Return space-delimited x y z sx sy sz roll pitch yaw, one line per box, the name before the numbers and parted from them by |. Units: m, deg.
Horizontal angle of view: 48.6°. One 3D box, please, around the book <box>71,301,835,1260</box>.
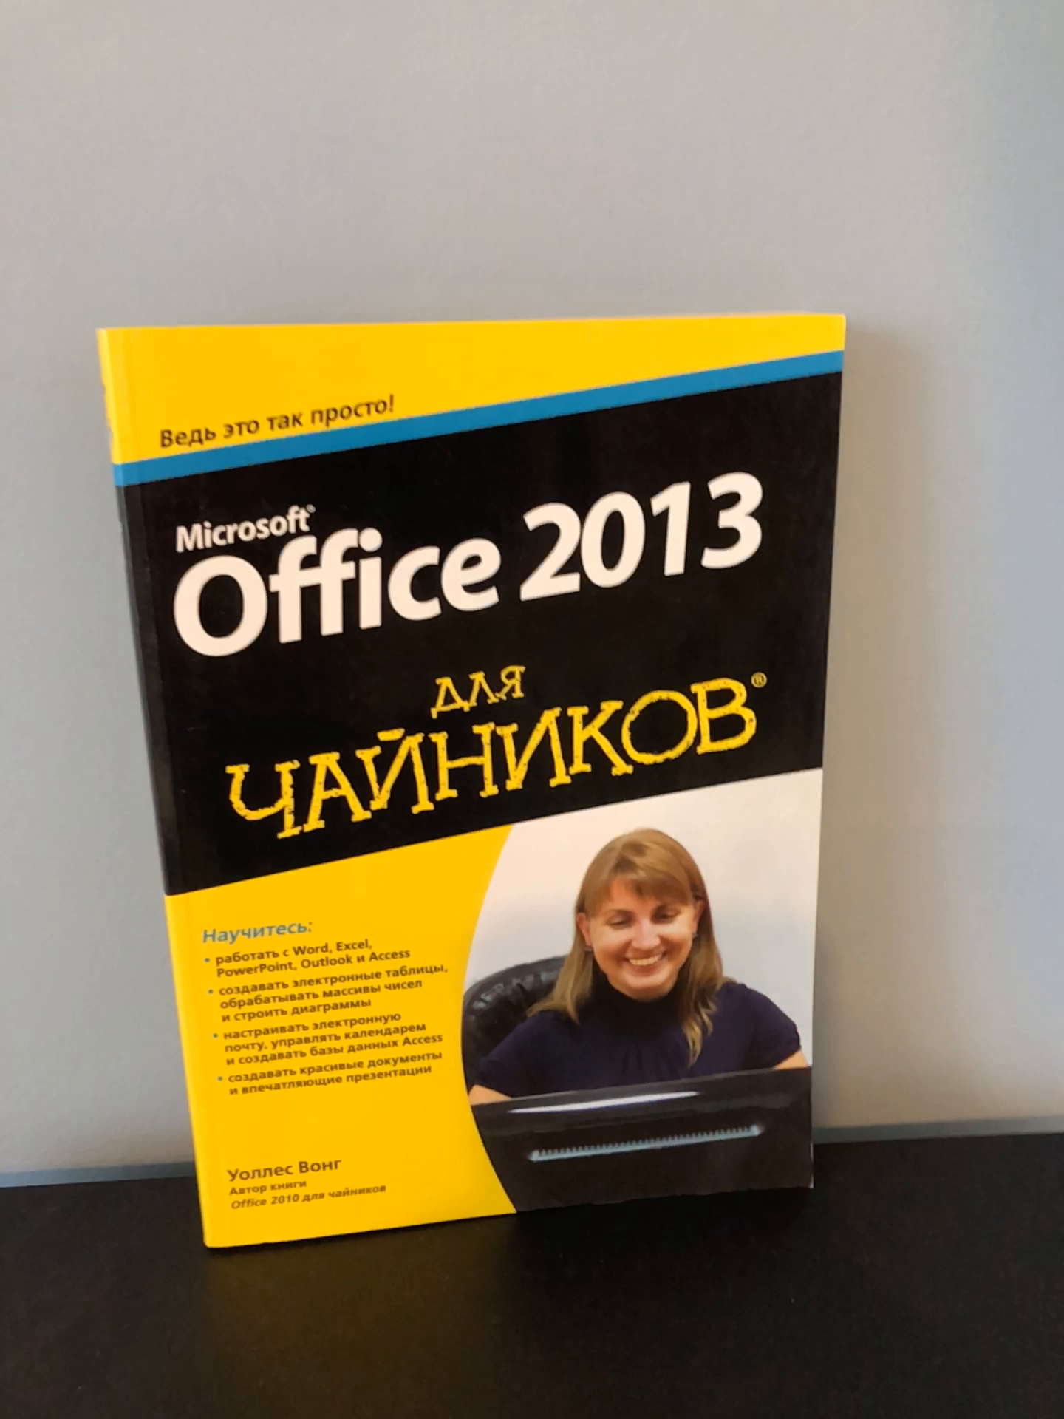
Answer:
book | -0.012 0.022 0.300 0.164 0.233 0.031 -4 16 -7
